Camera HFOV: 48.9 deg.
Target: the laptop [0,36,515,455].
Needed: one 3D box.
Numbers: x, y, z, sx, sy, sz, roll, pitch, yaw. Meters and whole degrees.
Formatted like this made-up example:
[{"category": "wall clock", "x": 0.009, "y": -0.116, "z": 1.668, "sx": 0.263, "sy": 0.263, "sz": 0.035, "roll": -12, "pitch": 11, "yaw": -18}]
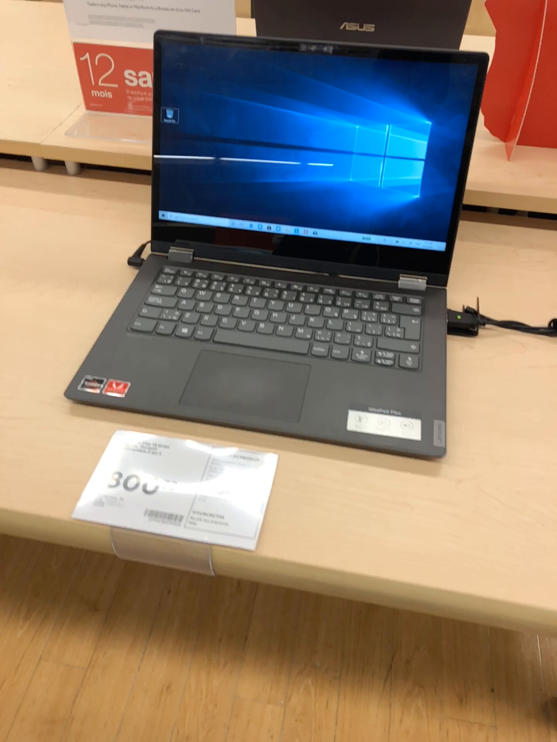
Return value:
[{"category": "laptop", "x": 0.006, "y": -0.132, "z": 0.545, "sx": 0.319, "sy": 0.199, "sz": 0.307, "roll": 9, "pitch": 45, "yaw": 7}]
